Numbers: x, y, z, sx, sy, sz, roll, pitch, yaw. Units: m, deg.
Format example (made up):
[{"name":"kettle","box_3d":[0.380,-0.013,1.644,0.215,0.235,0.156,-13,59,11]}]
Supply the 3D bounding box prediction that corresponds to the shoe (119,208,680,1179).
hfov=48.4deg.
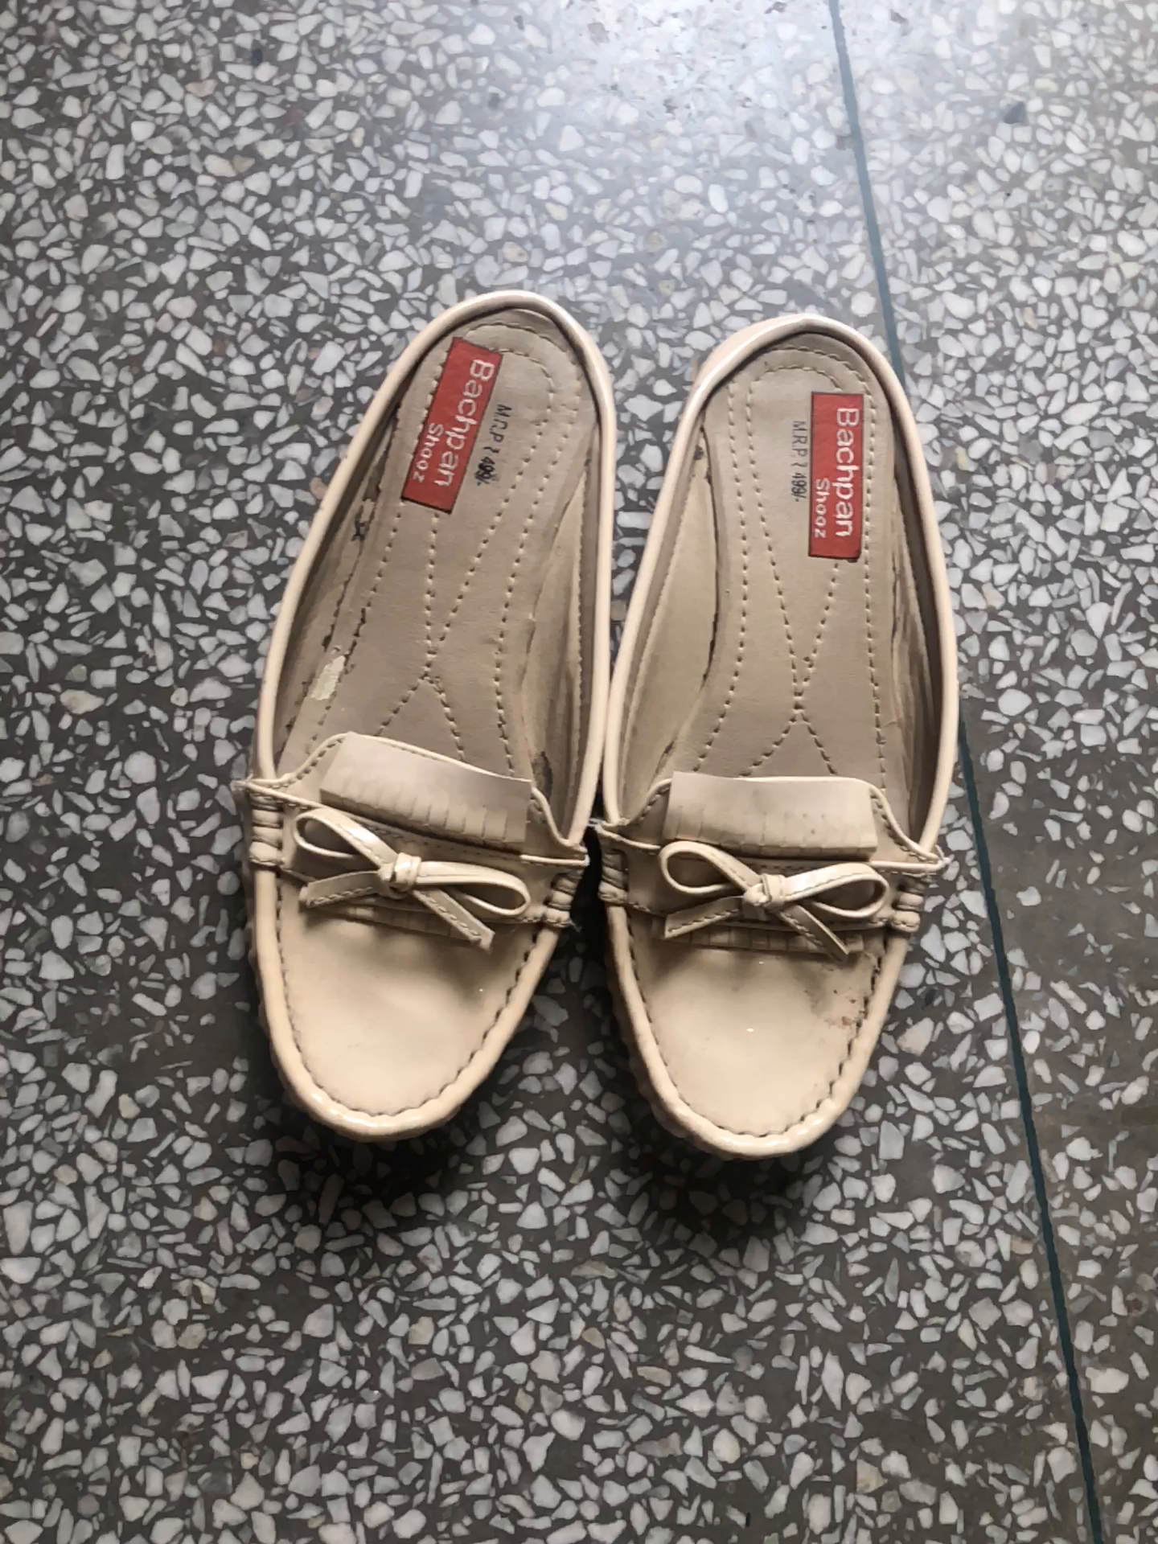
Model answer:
[{"name":"shoe","box_3d":[-0.041,-0.021,0.325,0.090,0.040,0.220,11,83,-2]}]

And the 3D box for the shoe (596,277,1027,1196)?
[{"name":"shoe","box_3d":[0.057,-0.010,0.323,0.080,0.040,0.210,7,83,-3]}]
